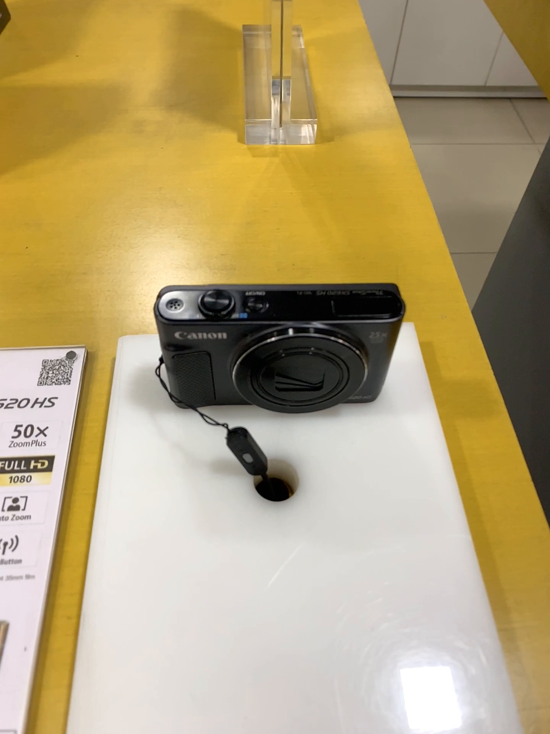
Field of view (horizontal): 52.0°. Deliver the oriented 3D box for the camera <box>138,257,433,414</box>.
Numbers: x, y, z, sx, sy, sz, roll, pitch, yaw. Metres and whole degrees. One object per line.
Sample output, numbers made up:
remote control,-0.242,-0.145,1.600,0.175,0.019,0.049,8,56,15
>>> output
camera,0.003,-0.011,0.224,0.100,0.060,0.030,0,53,-2
